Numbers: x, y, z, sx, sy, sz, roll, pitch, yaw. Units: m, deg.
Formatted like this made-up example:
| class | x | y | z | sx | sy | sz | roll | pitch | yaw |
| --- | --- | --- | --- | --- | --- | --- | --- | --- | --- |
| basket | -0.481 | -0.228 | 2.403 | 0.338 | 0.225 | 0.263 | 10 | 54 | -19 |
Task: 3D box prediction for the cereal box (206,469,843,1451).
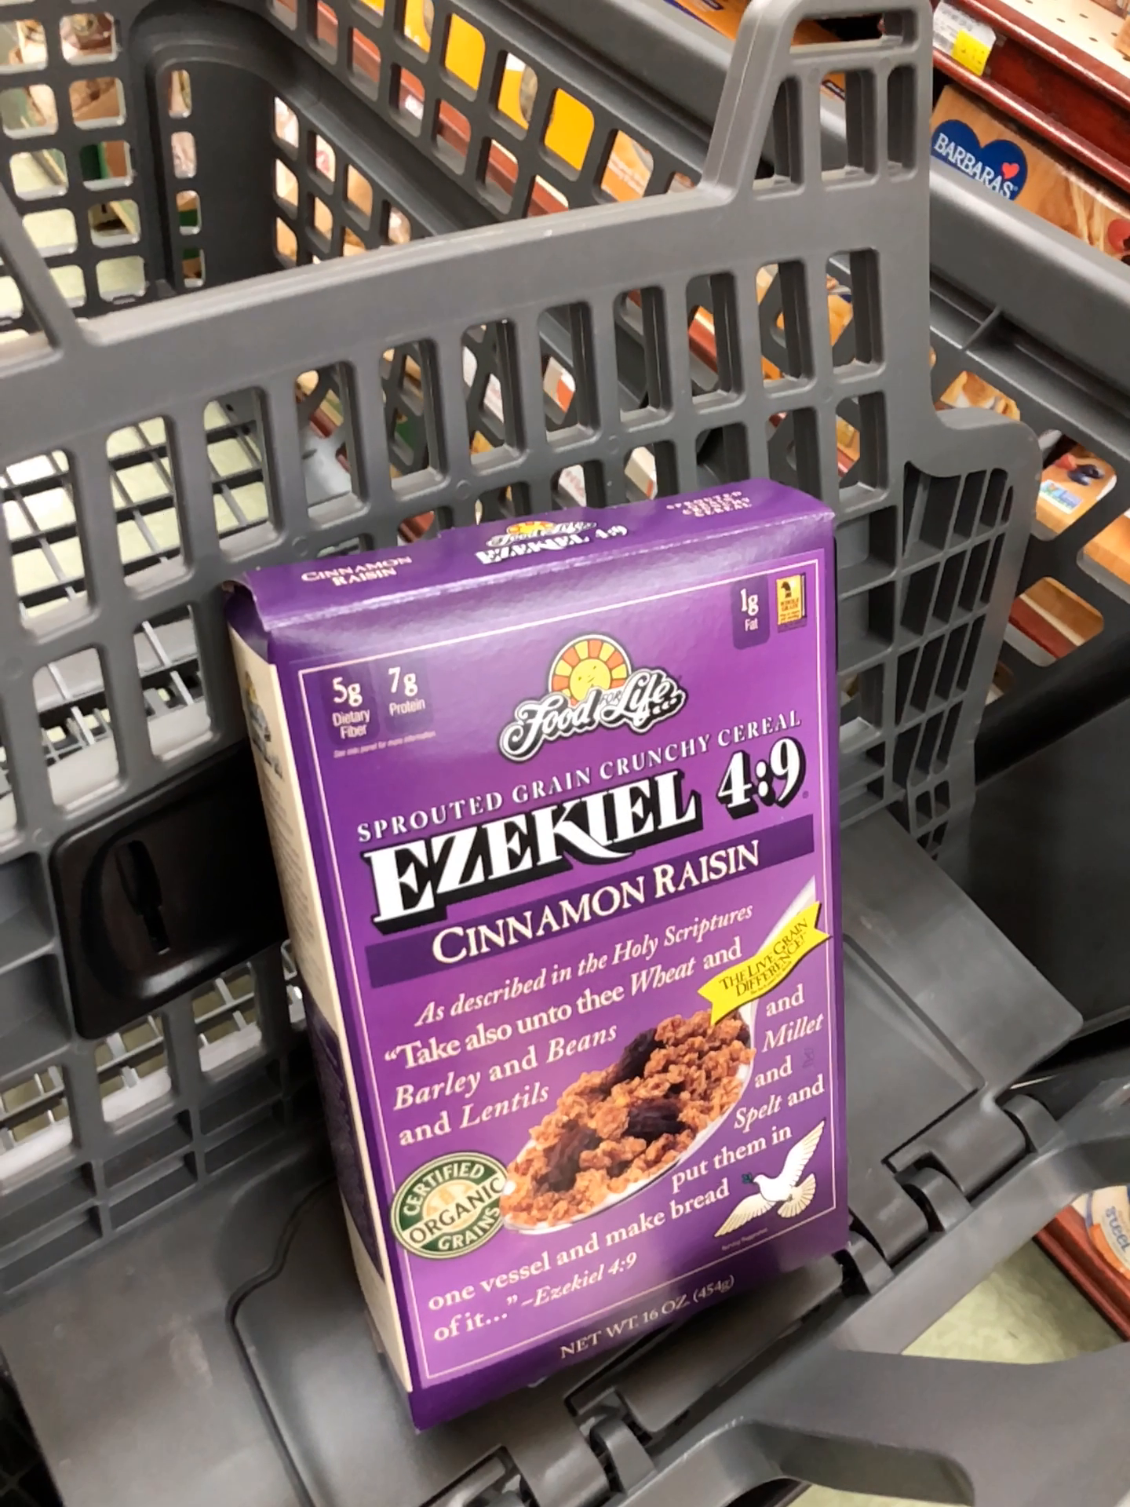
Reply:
| class | x | y | z | sx | sy | sz | roll | pitch | yaw |
| --- | --- | --- | --- | --- | --- | --- | --- | --- | --- |
| cereal box | 0.000 | 0.057 | 0.365 | 0.150 | 0.250 | 0.060 | -15 | 23 | -22 |
